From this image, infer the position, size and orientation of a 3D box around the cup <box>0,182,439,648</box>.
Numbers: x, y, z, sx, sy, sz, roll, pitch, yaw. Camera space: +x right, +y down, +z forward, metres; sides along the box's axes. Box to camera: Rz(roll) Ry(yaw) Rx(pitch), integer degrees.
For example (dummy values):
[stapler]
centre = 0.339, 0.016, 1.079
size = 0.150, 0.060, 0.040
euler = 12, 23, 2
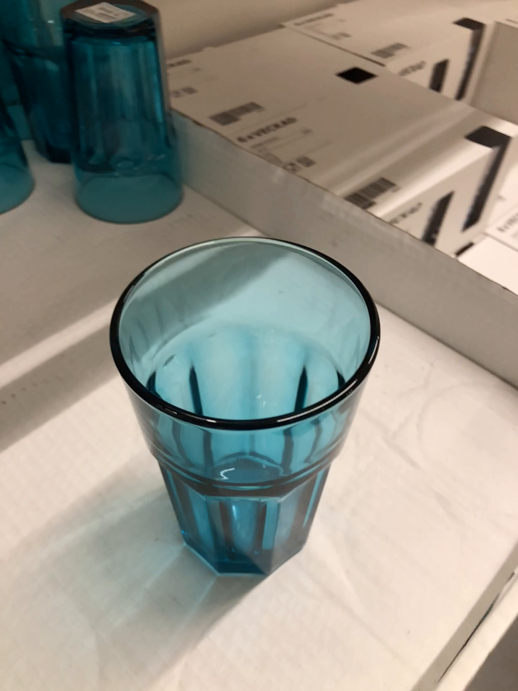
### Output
[cup]
centre = -0.014, 0.021, 0.206
size = 0.089, 0.102, 0.092
euler = 2, 46, -2
